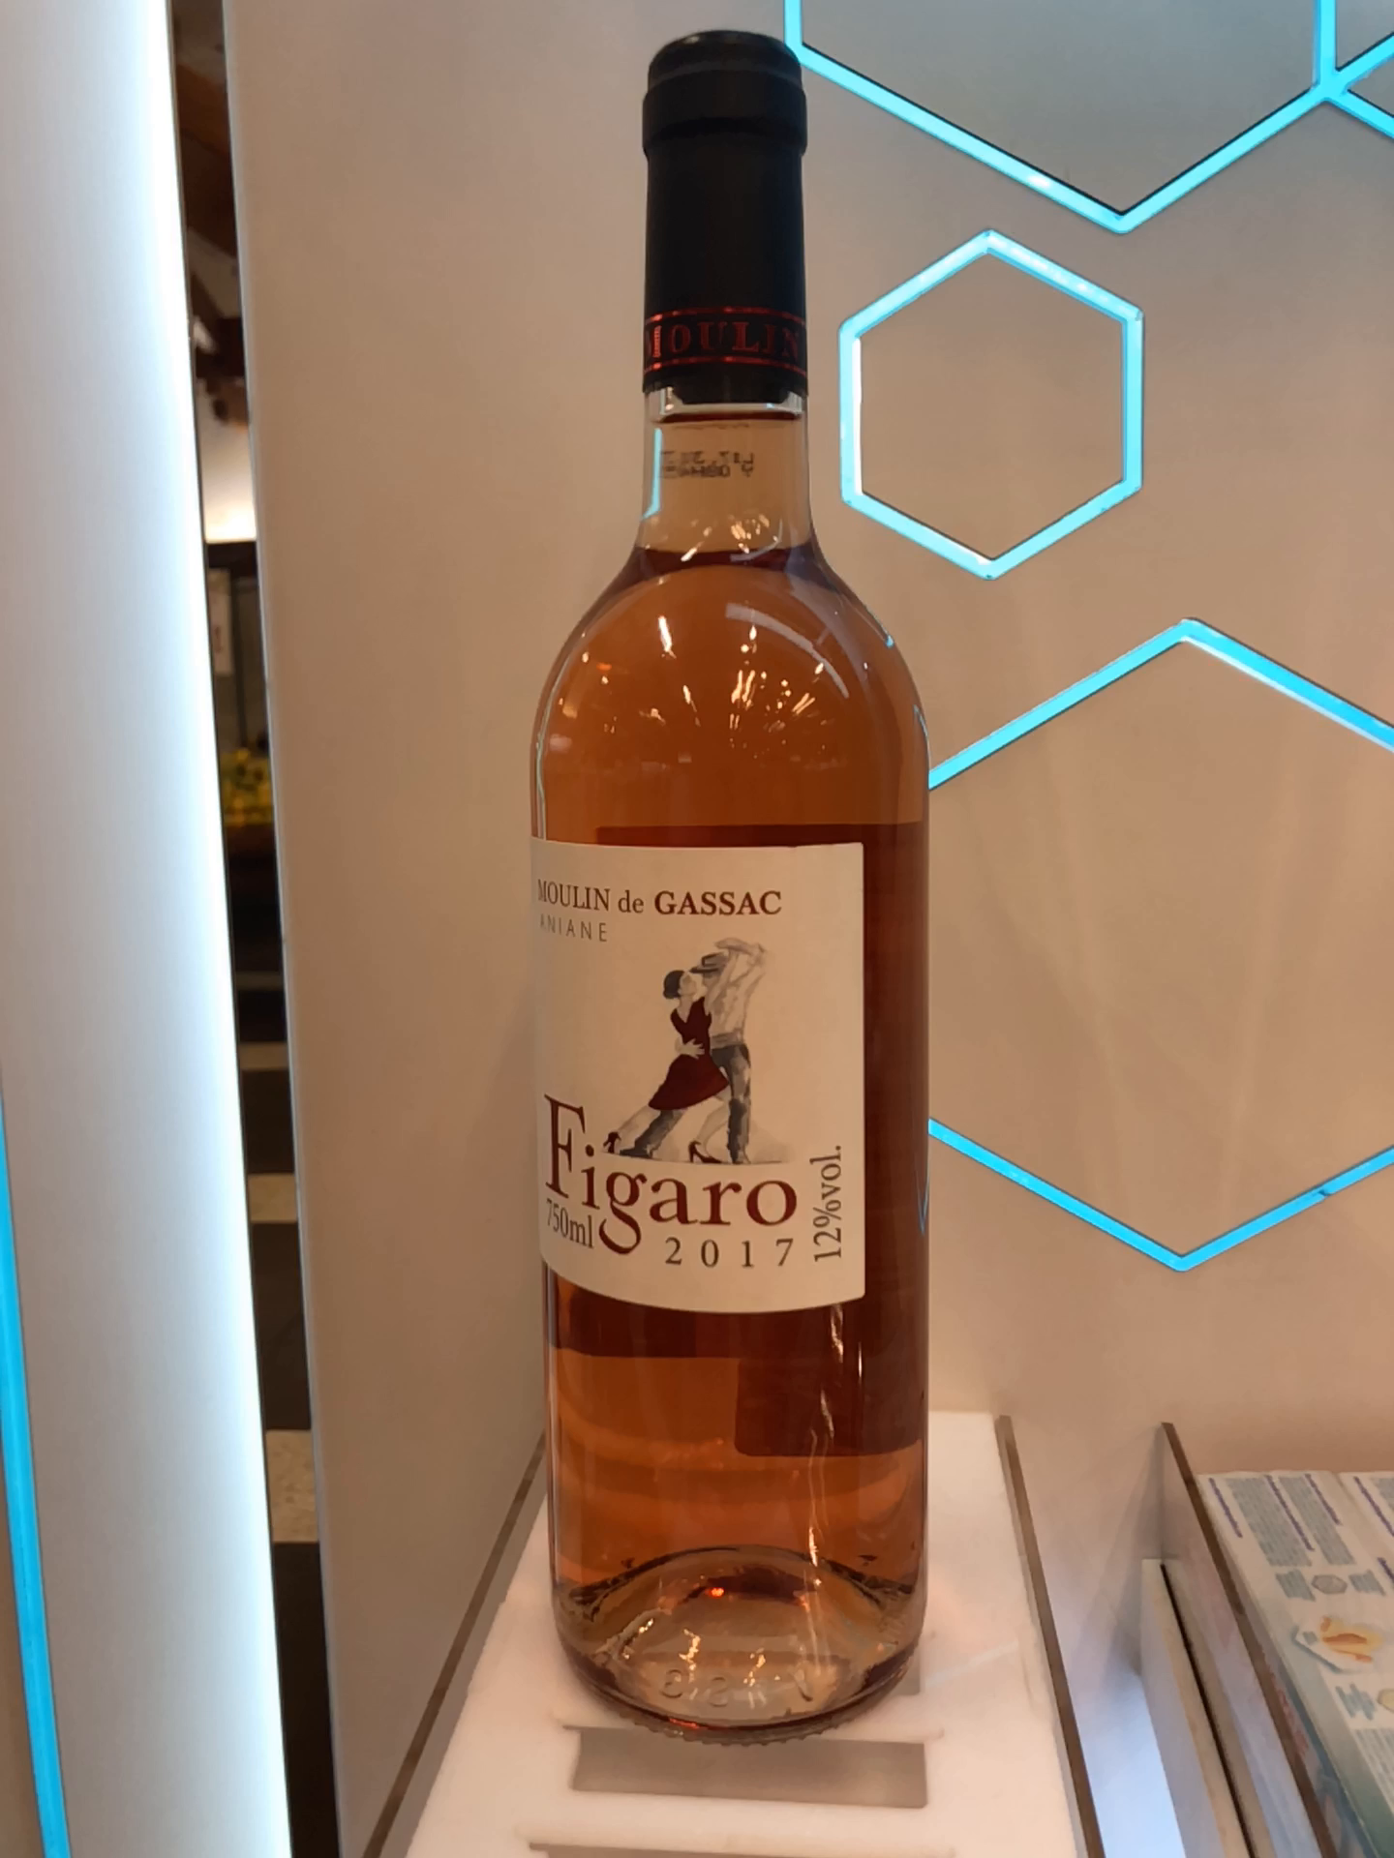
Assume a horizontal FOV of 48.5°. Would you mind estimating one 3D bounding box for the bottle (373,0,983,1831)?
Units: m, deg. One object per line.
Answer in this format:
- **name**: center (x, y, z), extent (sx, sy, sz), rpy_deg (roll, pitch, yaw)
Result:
- **bottle**: center (0.003, -0.008, 0.308), extent (0.090, 0.319, 0.080), rpy_deg (2, 6, 25)
